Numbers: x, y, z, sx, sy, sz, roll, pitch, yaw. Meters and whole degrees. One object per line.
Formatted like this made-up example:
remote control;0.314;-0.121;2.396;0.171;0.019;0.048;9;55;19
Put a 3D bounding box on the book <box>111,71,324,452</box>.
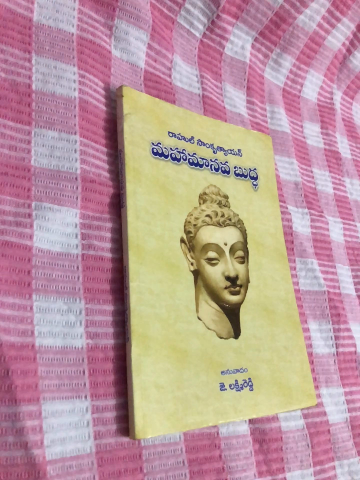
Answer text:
book;0.025;0.007;0.271;0.141;0.020;0.220;8;68;-35
